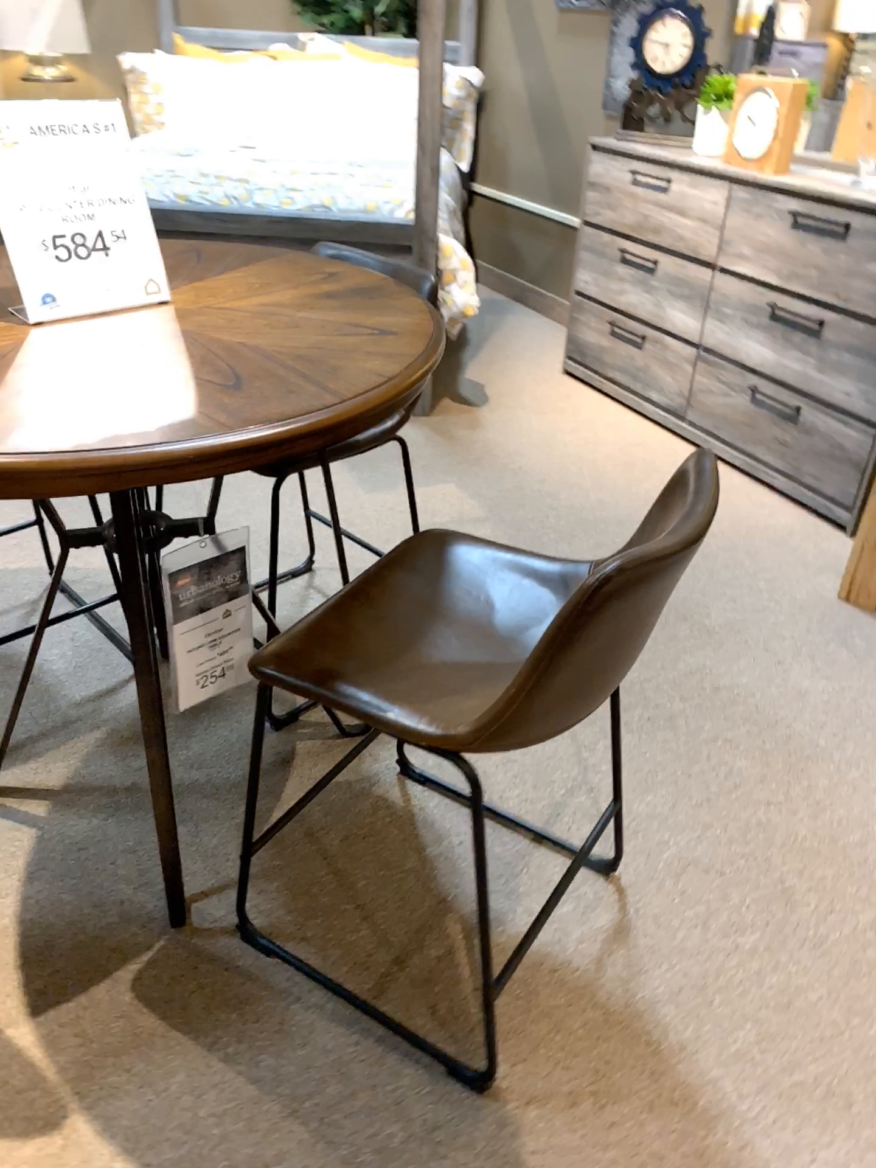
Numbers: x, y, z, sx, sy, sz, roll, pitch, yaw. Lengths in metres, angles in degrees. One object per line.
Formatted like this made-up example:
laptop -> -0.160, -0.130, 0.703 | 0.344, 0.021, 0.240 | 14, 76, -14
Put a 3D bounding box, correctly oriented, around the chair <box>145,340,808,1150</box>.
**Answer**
chair -> 0.065, 0.175, 1.293 | 0.581, 0.806, 0.602 | 20, 36, 26
